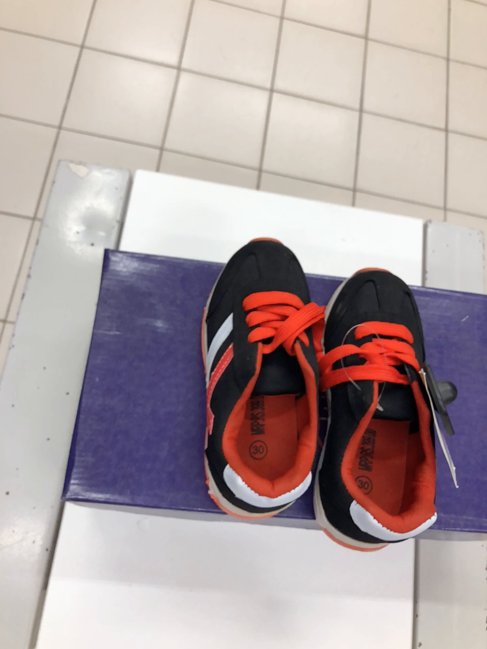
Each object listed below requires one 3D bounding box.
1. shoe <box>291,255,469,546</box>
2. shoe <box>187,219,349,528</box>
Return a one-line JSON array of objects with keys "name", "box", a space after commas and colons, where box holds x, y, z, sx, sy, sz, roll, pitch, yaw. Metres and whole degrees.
[{"name": "shoe", "box": [0.089, 0.055, 0.379, 0.080, 0.100, 0.170, 7, 72, -7]}, {"name": "shoe", "box": [0.015, 0.037, 0.374, 0.080, 0.100, 0.180, 7, 72, -7]}]
